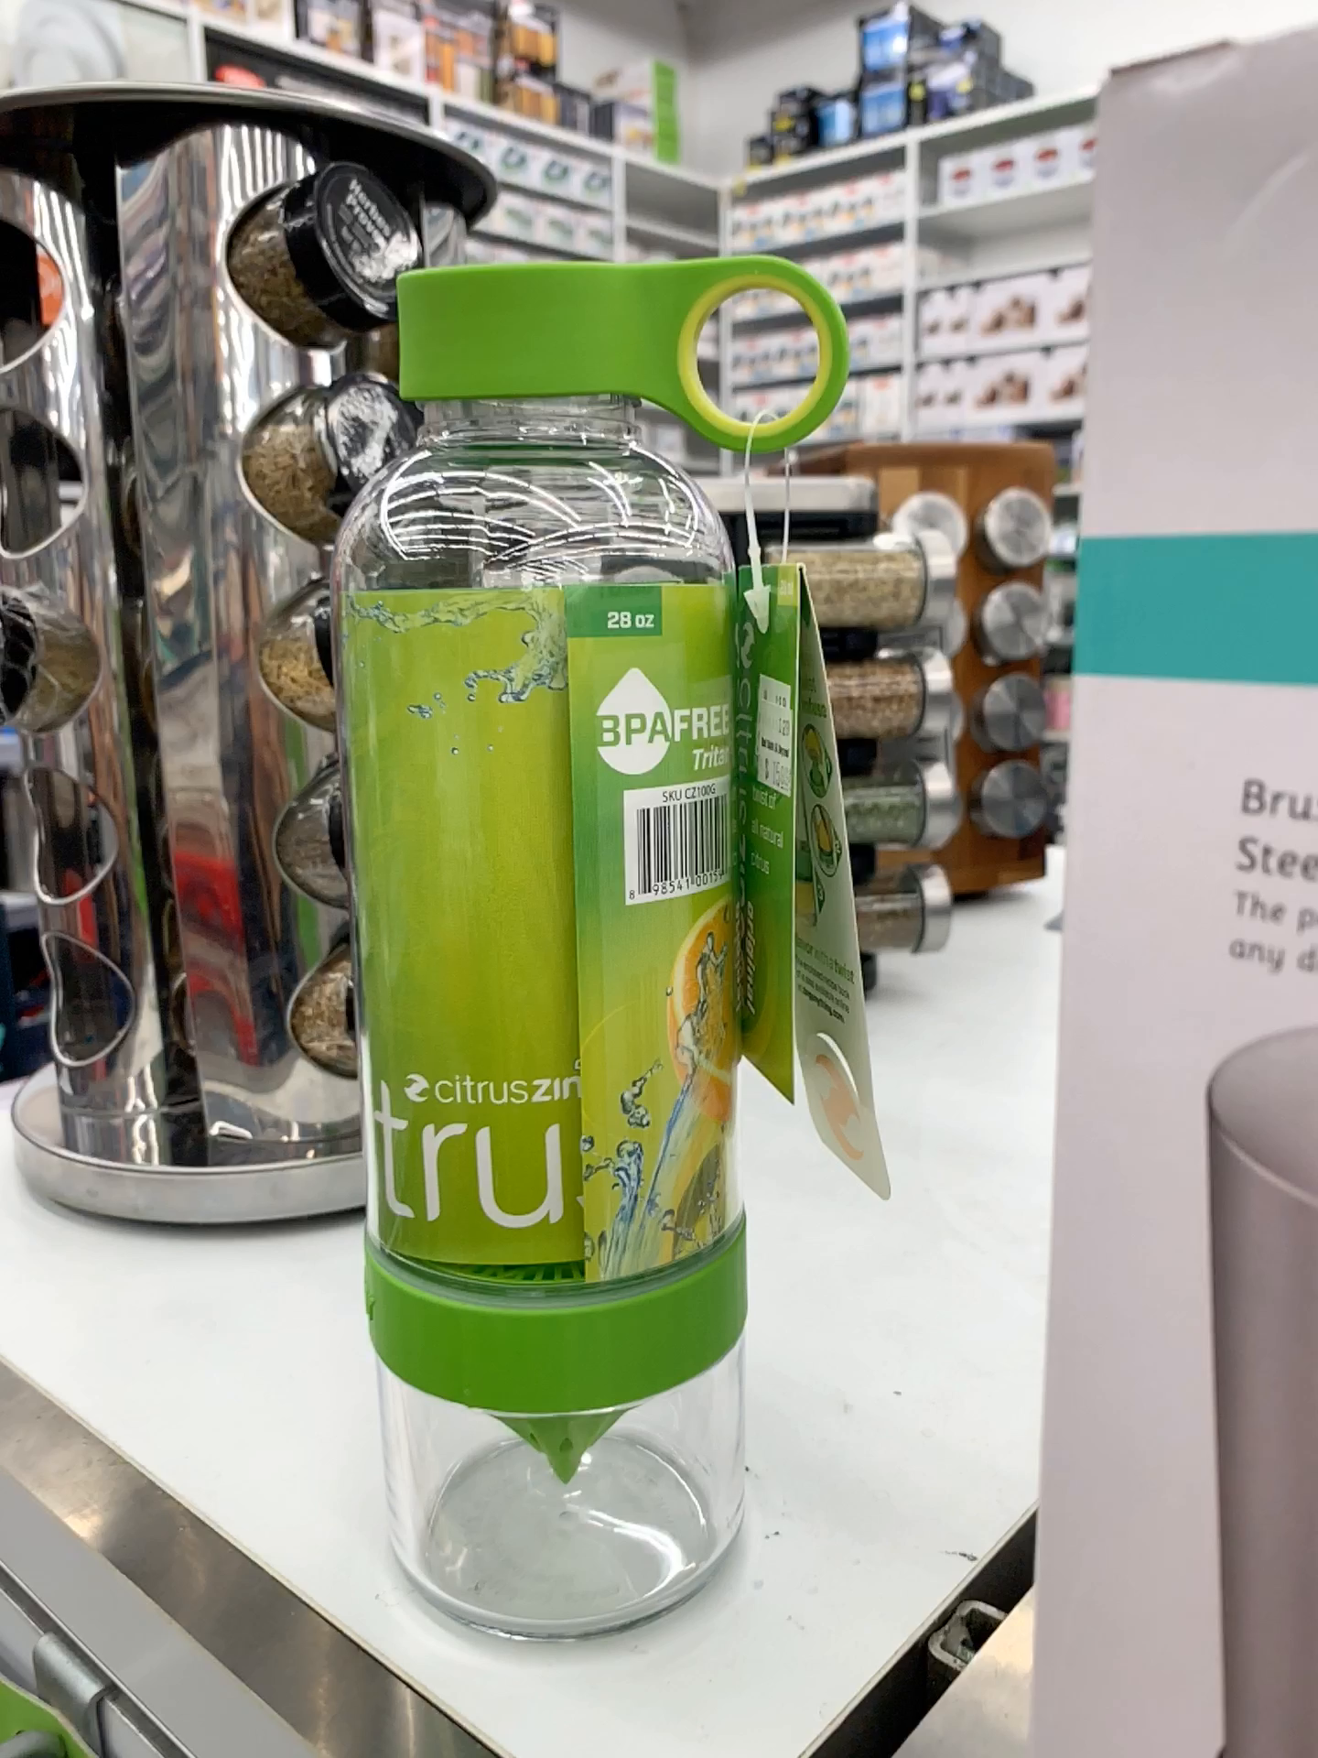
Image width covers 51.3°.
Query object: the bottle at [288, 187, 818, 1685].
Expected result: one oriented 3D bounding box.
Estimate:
[{"bbox_3d":[-0.022,0.012,0.269,0.081,0.251,0.078,-1,12,0],"label":"bottle"}]
